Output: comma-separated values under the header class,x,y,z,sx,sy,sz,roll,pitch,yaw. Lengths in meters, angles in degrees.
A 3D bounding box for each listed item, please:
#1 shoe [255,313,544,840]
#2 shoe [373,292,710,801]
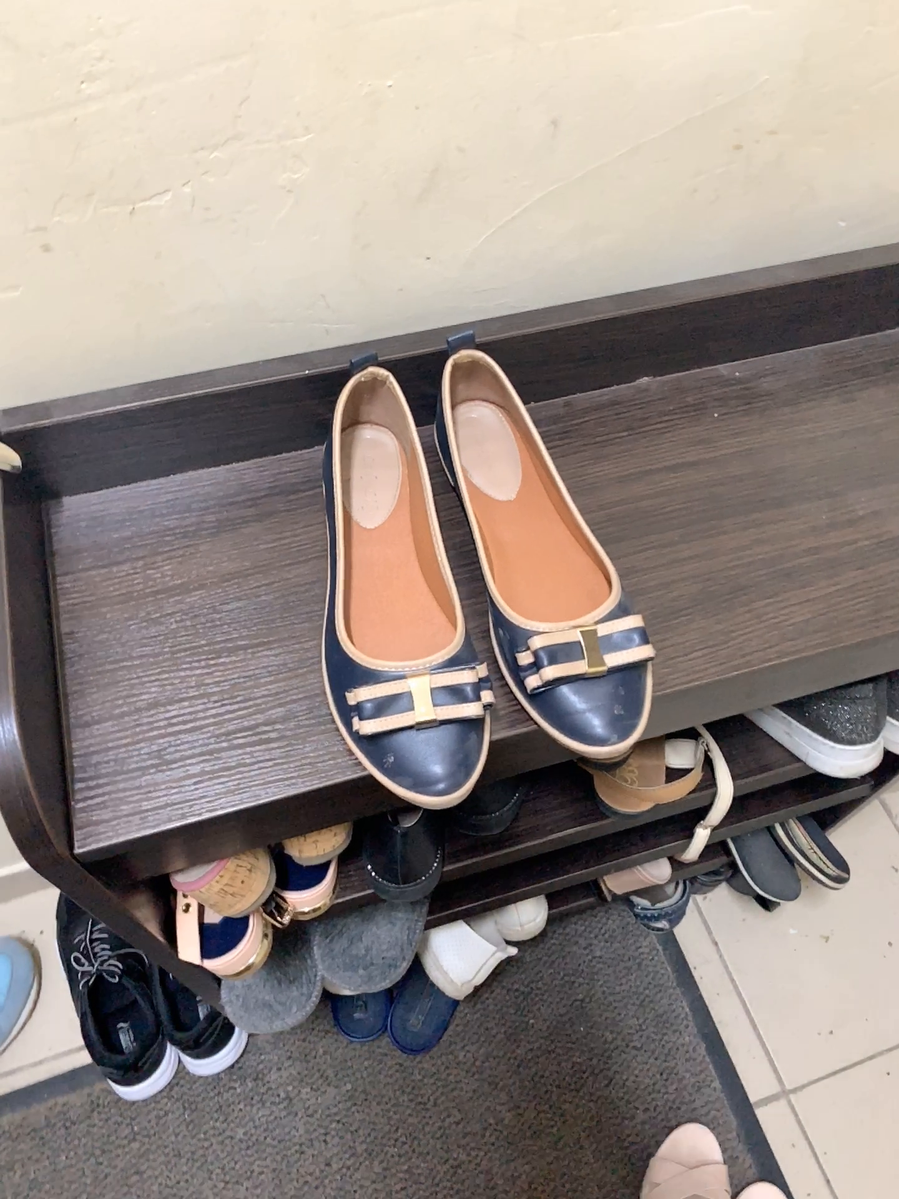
class,x,y,z,sx,sy,sz,roll,pitch,yaw
shoe,-0.034,-0.023,0.530,0.100,0.100,0.281,-14,58,-3
shoe,0.042,-0.041,0.547,0.100,0.100,0.281,-15,59,-4
